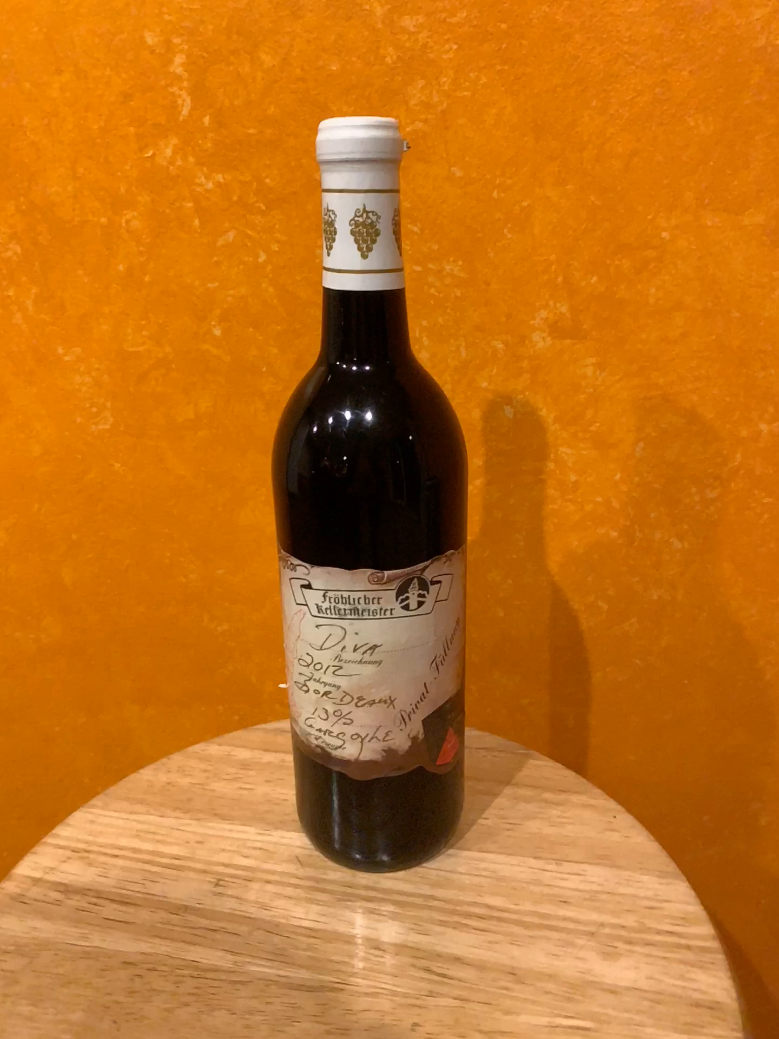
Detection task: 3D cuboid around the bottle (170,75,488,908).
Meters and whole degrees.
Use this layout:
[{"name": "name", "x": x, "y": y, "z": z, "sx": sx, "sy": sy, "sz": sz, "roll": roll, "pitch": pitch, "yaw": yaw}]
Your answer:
[{"name": "bottle", "x": -0.010, "y": 0.003, "z": 0.302, "sx": 0.080, "sy": 0.289, "sz": 0.070, "roll": 4, "pitch": 23, "yaw": 13}]
